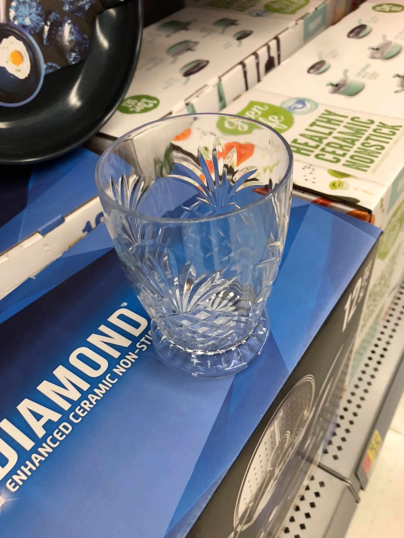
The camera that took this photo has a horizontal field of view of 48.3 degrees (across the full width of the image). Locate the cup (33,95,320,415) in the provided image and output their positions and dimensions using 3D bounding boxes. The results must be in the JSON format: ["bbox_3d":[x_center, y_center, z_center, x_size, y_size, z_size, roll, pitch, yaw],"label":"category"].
[{"bbox_3d":[-0.004,-0.009,0.233,0.088,0.113,0.092,-2,45,2],"label":"cup"}]
